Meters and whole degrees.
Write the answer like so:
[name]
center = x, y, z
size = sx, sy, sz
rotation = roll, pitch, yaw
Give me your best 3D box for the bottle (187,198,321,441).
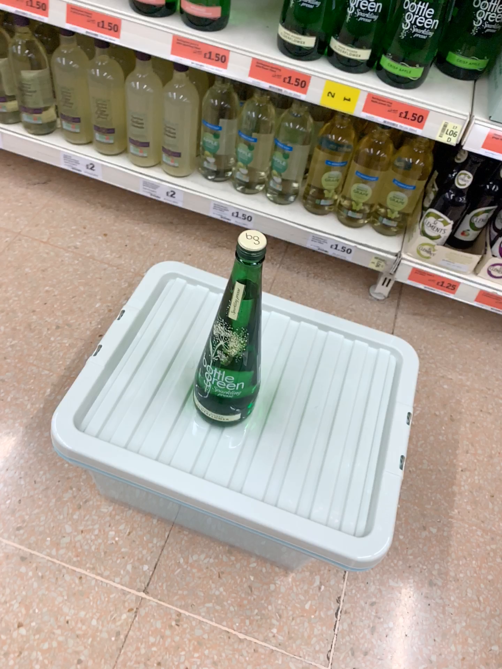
[bottle]
center = -0.009, 0.002, 0.593
size = 0.084, 0.298, 0.094
rotation = 25, 54, 9
